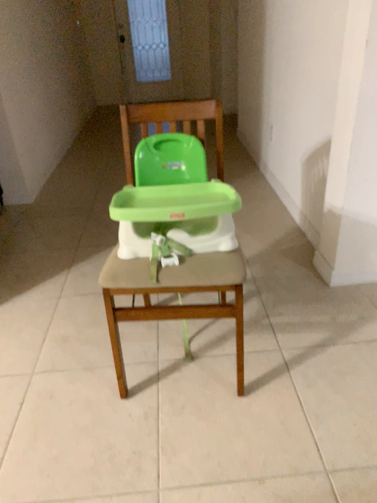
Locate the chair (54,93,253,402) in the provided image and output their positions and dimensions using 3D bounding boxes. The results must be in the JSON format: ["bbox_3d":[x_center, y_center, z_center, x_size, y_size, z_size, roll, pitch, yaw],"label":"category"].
[{"bbox_3d":[-0.049,-0.019,1.342,0.454,0.882,0.560,-2,30,3],"label":"chair"}]

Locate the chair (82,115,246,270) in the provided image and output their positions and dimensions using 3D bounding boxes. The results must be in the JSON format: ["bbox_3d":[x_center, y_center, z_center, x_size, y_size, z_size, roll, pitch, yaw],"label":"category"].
[{"bbox_3d":[-0.058,-0.199,1.207,0.404,0.328,0.388,-4,30,0],"label":"chair"}]
